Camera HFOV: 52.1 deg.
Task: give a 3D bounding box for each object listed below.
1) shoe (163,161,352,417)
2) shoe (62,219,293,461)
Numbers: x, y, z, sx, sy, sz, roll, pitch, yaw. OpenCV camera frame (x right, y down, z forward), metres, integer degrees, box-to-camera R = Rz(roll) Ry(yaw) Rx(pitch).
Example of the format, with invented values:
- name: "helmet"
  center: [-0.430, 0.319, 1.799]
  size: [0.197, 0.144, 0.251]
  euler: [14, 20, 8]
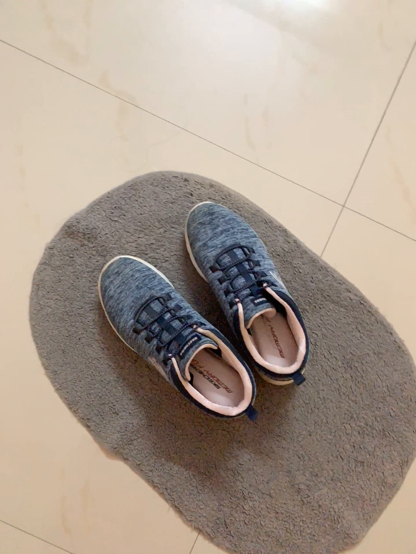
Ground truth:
- name: "shoe"
  center: [0.051, 0.014, 0.516]
  size: [0.090, 0.100, 0.270]
  euler: [-28, 87, -5]
- name: "shoe"
  center: [-0.040, 0.077, 0.548]
  size: [0.100, 0.100, 0.290]
  euler: [-42, 88, -10]
